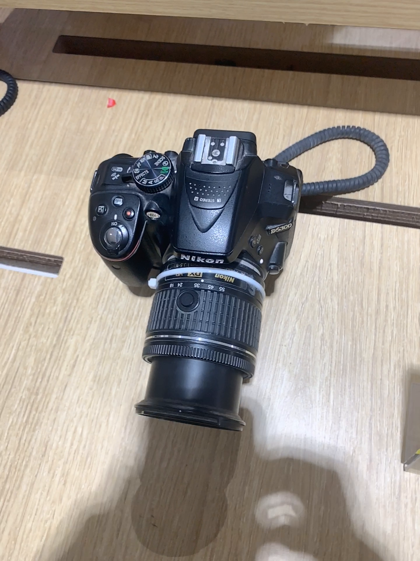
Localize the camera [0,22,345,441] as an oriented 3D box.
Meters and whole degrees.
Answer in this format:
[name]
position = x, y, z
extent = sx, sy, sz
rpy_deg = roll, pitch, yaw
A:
[camera]
position = -0.015, -0.028, 0.267
extent = 0.160, 0.120, 0.210
rpy_deg = 6, 70, 10
